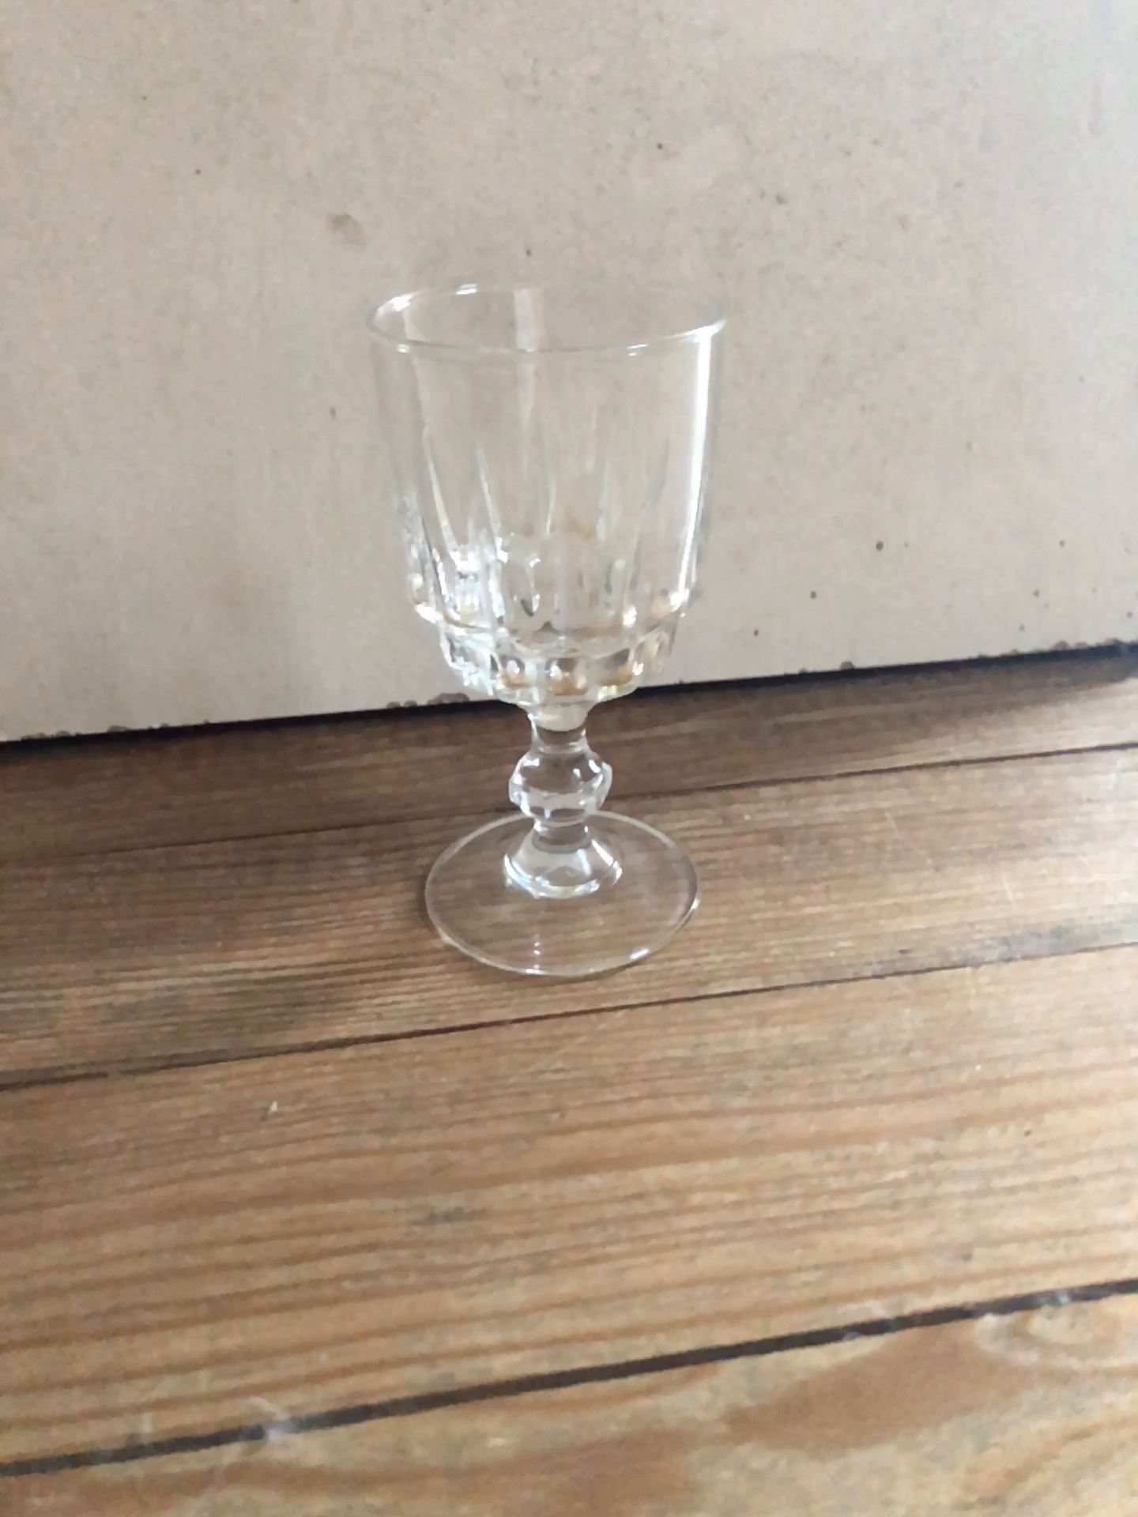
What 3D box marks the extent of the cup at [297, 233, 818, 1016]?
[{"bbox_3d":[-0.007,-0.027,0.234,0.070,0.119,0.070,0,30,0],"label":"cup"}]
